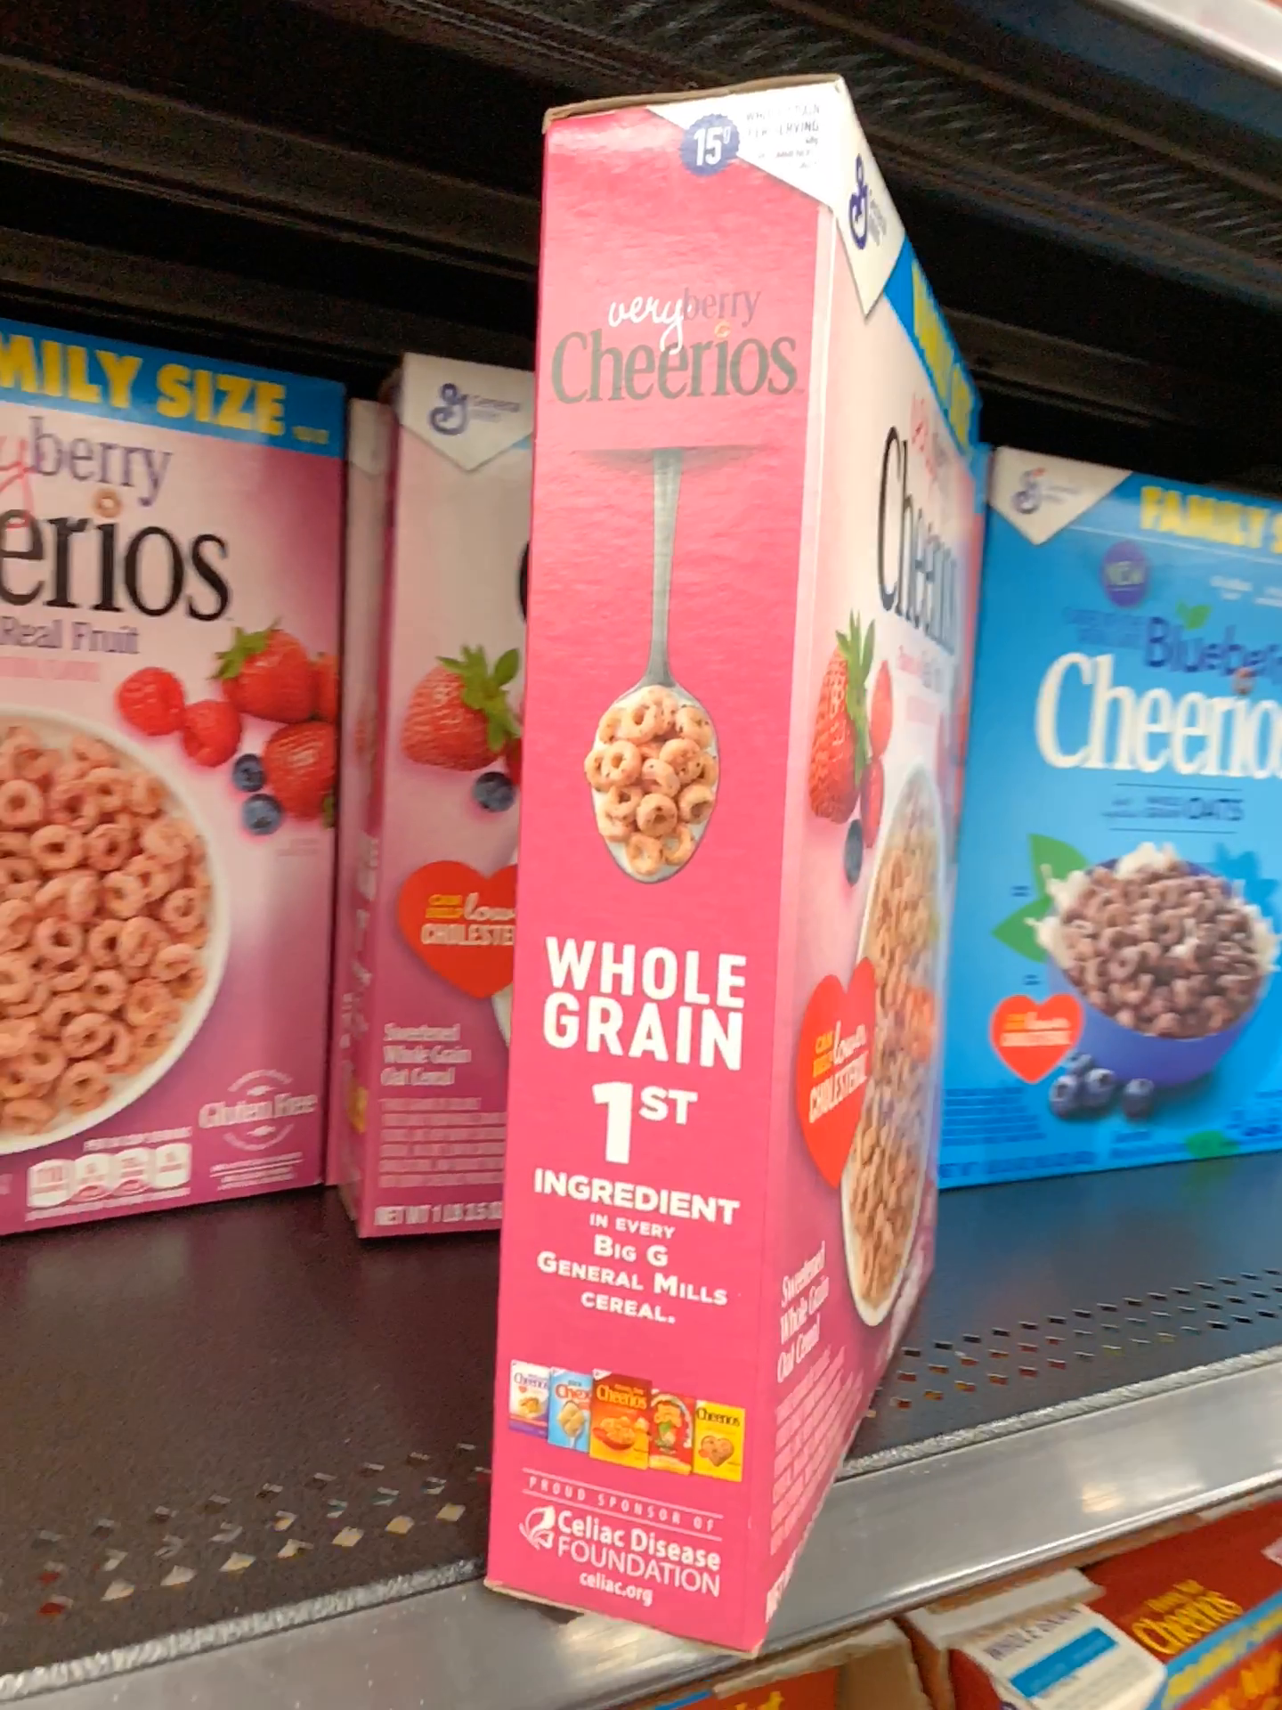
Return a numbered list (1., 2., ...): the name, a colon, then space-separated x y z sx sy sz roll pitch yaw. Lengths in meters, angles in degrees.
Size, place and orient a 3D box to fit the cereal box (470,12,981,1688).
1. cereal box: 0.041 -0.003 0.375 0.060 0.320 0.240 3 4 21
